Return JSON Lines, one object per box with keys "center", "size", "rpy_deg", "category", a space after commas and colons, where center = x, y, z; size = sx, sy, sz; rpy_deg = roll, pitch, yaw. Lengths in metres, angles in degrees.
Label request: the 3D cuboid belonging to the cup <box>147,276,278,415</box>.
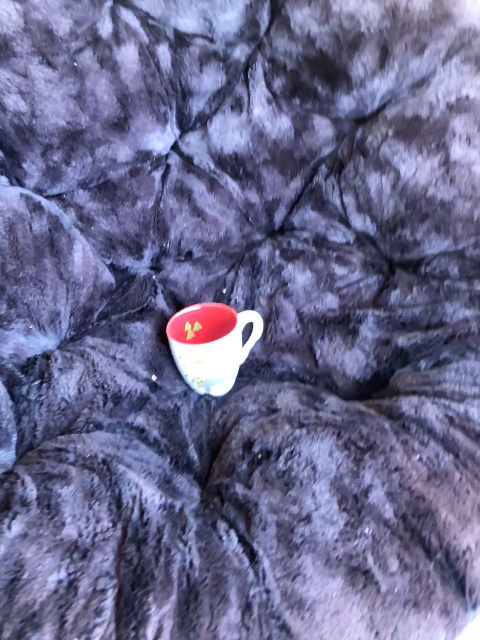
{"center": [-0.035, 0.031, 0.742], "size": [0.140, 0.110, 0.100], "rpy_deg": [-28, 43, -26], "category": "cup"}
